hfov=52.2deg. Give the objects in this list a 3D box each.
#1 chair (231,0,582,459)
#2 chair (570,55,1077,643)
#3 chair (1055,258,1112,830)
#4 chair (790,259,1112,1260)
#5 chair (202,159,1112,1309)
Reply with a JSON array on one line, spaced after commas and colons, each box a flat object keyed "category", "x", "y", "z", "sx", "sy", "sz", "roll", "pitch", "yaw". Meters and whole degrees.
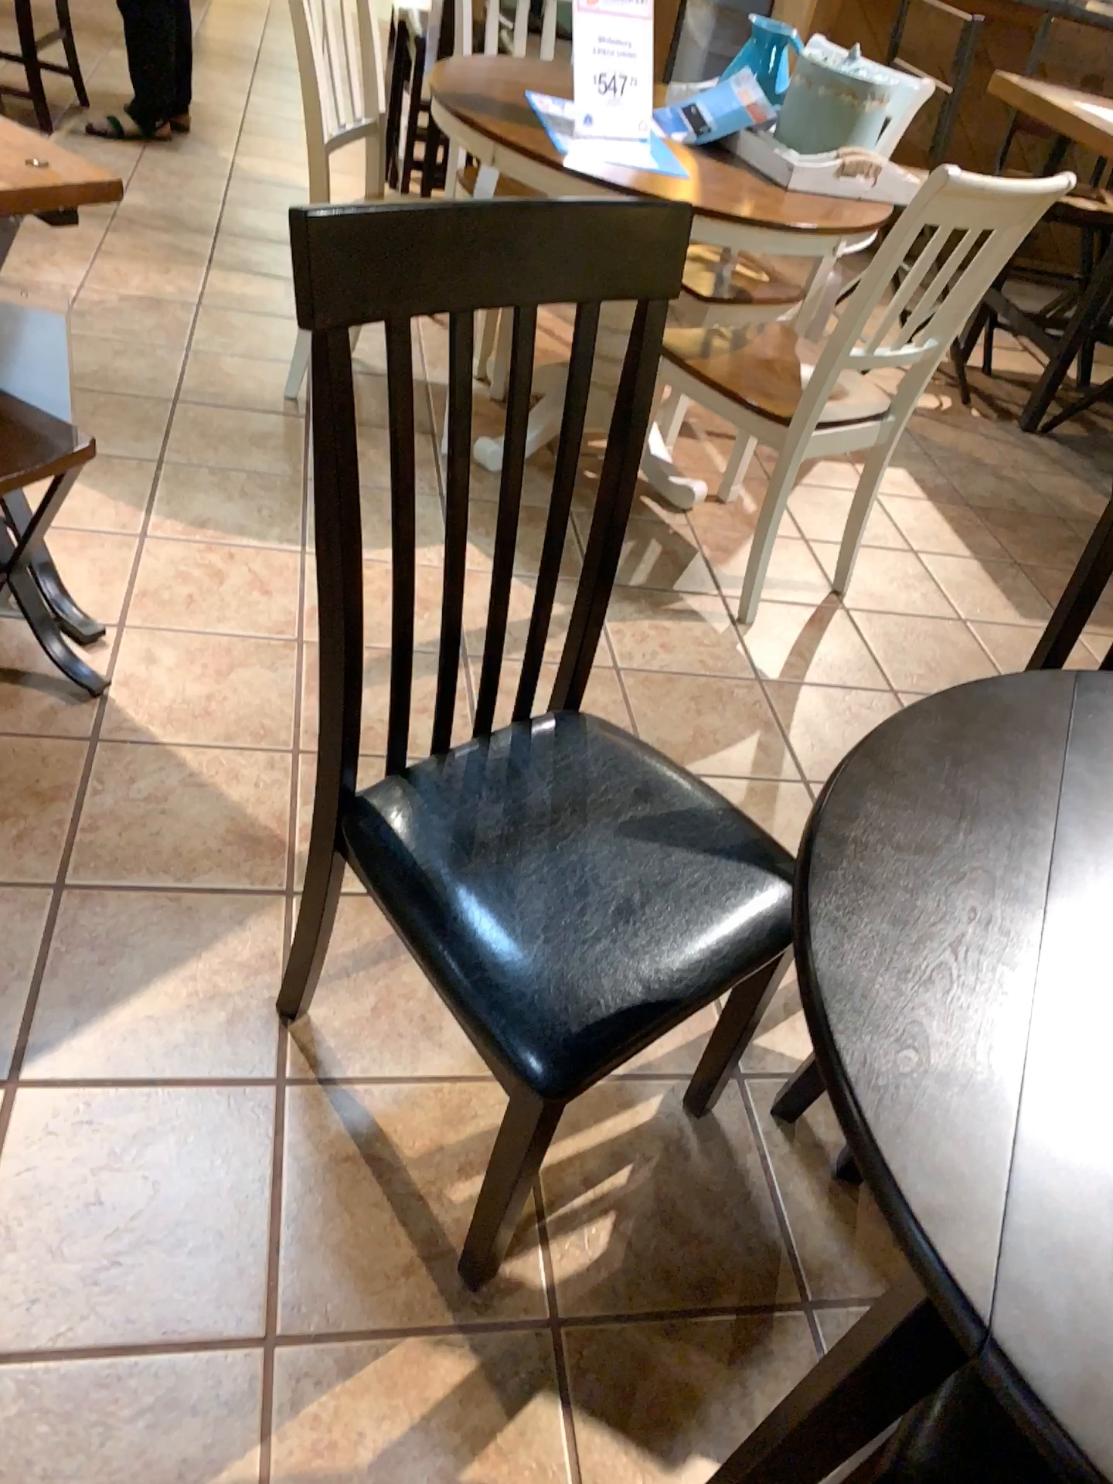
[{"category": "chair", "x": -0.348, "y": -1.190, "z": 2.480, "sx": 0.541, "sy": 0.904, "sz": 0.416, "roll": 18, "pitch": 39, "yaw": 4}, {"category": "chair", "x": 0.467, "y": -0.760, "z": 2.249, "sx": 0.465, "sy": 0.894, "sz": 0.542, "roll": -20, "pitch": 50, "yaw": -36}, {"category": "chair", "x": 1.452, "y": -0.313, "z": 2.072, "sx": 0.541, "sy": 0.894, "sz": 0.406, "roll": 4, "pitch": 40, "yaw": -14}, {"category": "chair", "x": 0.619, "y": 0.052, "z": 1.286, "sx": 0.384, "sy": 0.933, "sz": 0.544, "roll": 17, "pitch": 39, "yaw": 2}, {"category": "chair", "x": -0.008, "y": 0.000, "z": 1.154, "sx": 0.455, "sy": 0.923, "sz": 0.562, "roll": -22, "pitch": 51, "yaw": -37}]
